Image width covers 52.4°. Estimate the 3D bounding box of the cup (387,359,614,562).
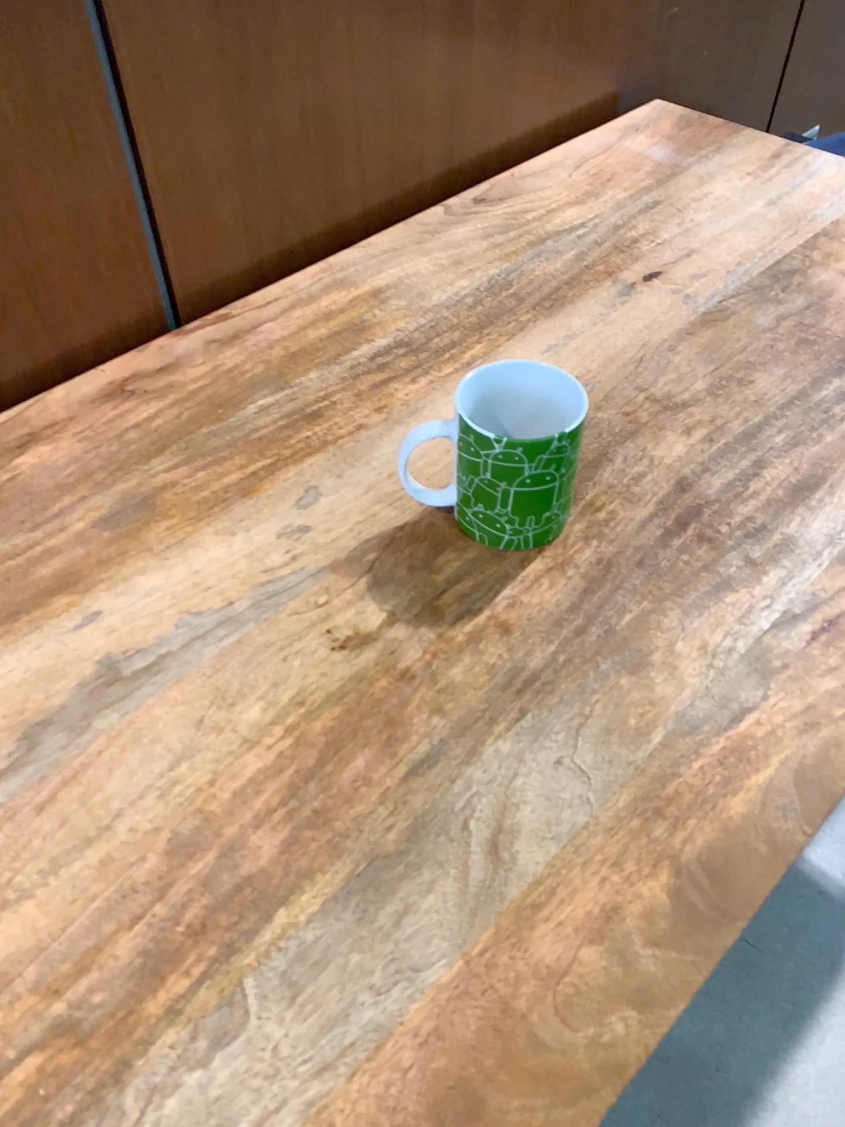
[{"bbox_3d":[0.045,-0.068,0.565,0.130,0.080,0.100,-3,48,-1],"label":"cup"}]
